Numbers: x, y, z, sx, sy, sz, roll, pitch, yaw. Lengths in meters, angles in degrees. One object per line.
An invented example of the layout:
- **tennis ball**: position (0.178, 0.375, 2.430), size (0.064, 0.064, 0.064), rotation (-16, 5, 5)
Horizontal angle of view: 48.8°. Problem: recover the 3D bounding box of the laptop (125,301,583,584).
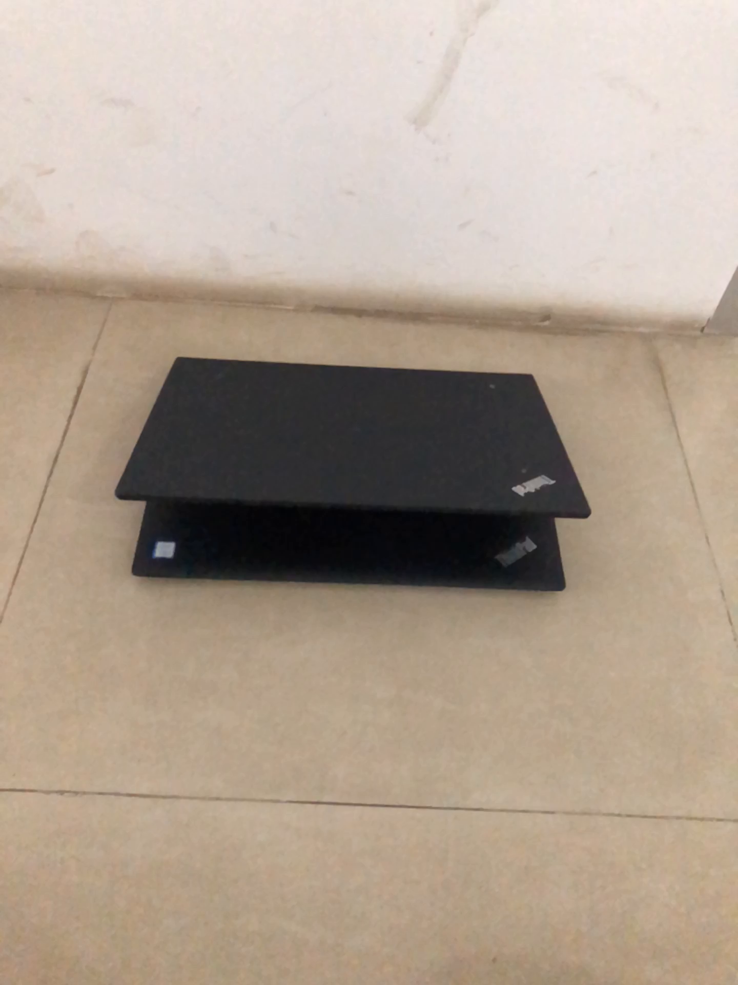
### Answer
- **laptop**: position (-0.011, -0.050, 0.716), size (0.349, 0.071, 0.237), rotation (2, 55, -2)
